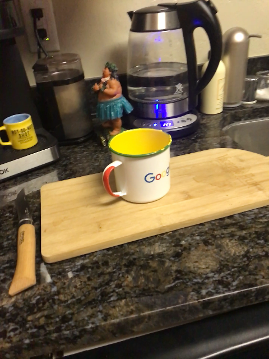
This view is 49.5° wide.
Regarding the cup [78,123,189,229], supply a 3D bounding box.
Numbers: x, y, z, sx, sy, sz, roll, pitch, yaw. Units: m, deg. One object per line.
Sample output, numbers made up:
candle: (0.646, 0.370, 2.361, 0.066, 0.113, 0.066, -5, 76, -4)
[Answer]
cup: (0.003, -0.014, 0.452, 0.131, 0.089, 0.100, -29, 39, -33)
